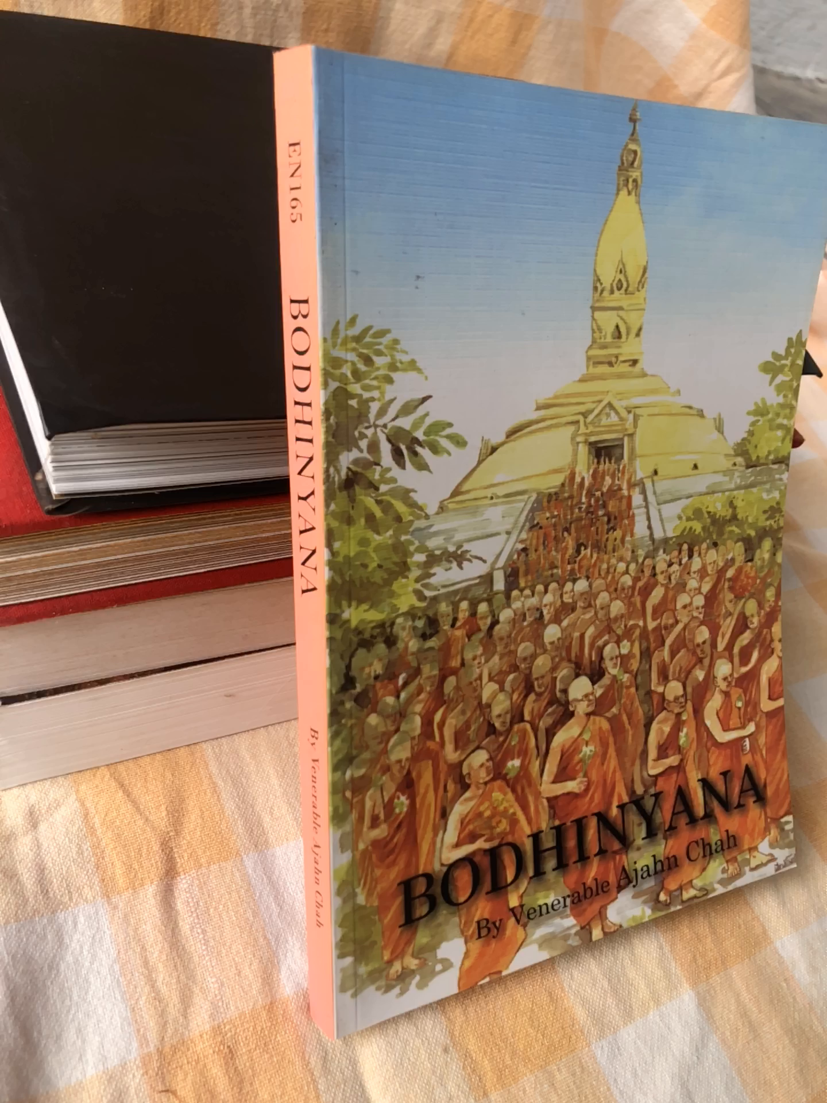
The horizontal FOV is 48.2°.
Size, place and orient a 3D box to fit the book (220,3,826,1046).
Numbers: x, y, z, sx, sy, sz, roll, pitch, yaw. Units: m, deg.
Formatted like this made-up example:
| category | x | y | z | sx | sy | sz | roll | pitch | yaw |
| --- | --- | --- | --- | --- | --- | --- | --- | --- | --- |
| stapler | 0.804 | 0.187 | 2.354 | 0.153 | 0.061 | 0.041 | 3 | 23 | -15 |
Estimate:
| category | x | y | z | sx | sy | sz | roll | pitch | yaw |
| --- | --- | --- | --- | --- | --- | --- | --- | --- | --- |
| book | 0.036 | -0.004 | 0.222 | 0.151 | 0.200 | 0.030 | -6 | 13 | -27 |
